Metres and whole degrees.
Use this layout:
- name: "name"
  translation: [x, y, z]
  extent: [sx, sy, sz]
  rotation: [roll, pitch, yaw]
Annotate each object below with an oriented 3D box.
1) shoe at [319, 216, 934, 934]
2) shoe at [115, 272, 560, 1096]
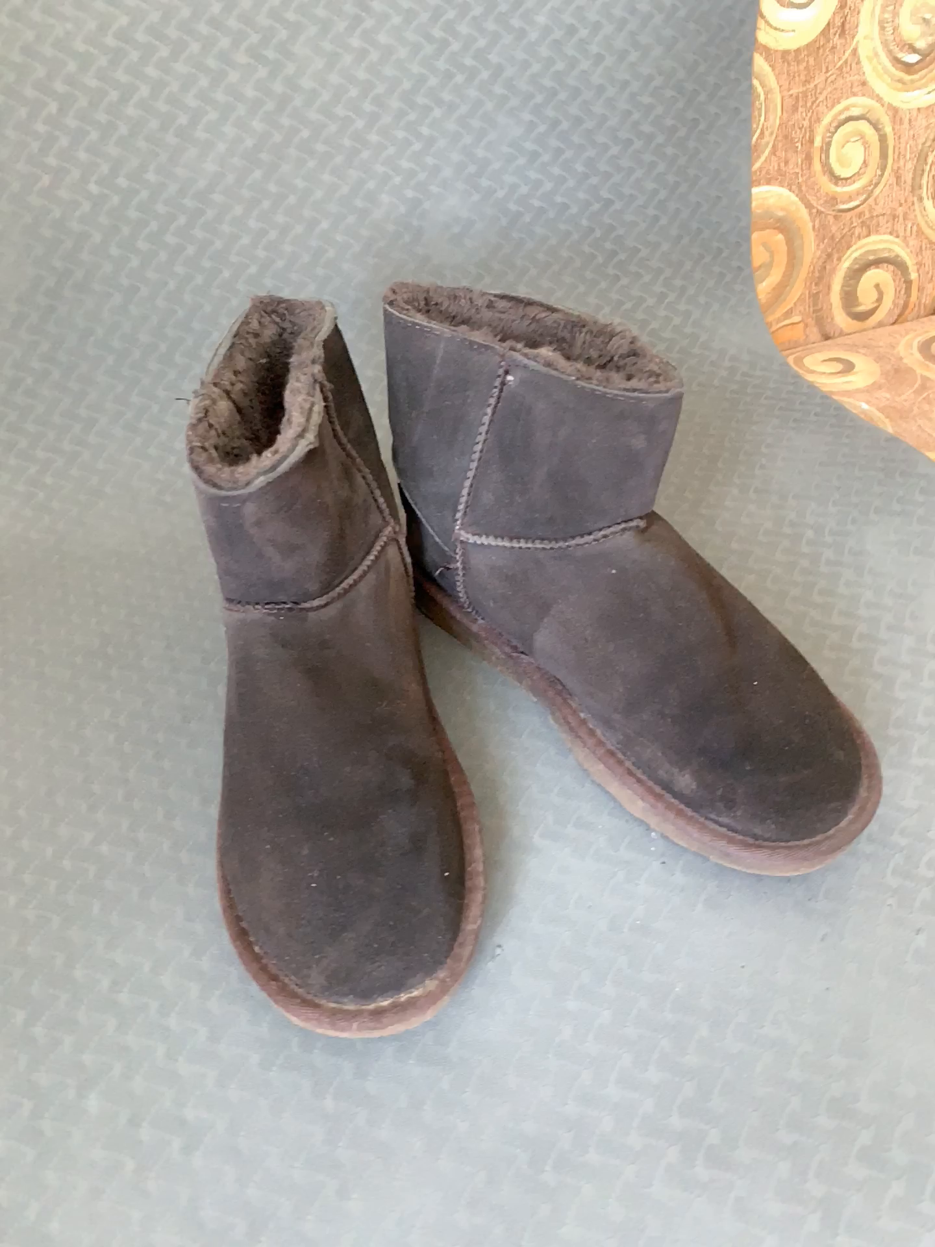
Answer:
- name: "shoe"
  translation: [0.065, -0.031, 0.376]
  extent: [0.100, 0.139, 0.254]
  rotation: [-33, 56, -25]
- name: "shoe"
  translation: [-0.054, 0.007, 0.349]
  extent: [0.100, 0.139, 0.254]
  rotation: [-10, 49, -8]
